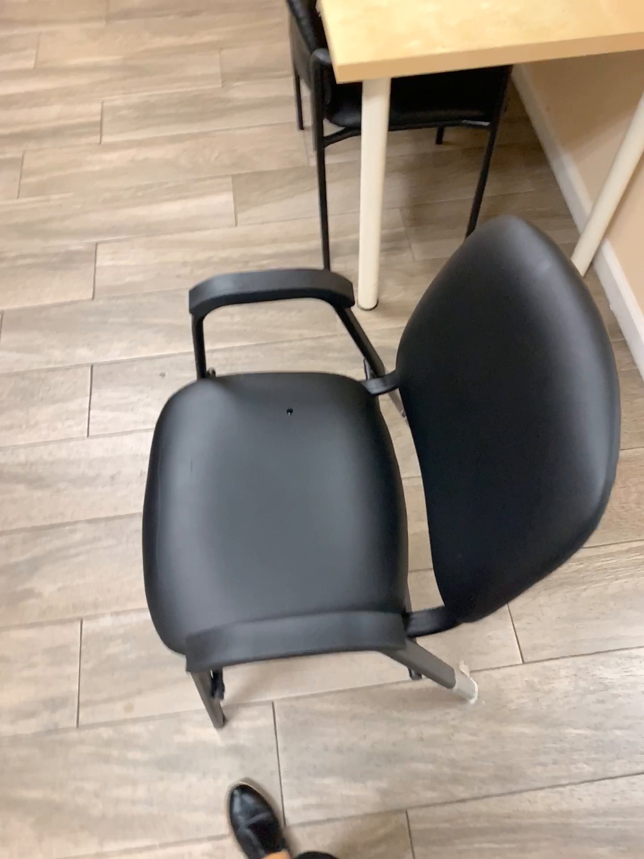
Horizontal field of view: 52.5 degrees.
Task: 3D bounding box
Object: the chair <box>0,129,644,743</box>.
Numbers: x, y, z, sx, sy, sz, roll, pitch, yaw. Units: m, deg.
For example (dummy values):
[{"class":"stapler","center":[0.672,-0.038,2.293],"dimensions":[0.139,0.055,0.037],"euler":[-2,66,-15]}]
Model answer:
[{"class":"chair","center":[0.019,0.102,1.038],"dimensions":[0.624,0.797,0.608],"euler":[-6,61,-2]}]
